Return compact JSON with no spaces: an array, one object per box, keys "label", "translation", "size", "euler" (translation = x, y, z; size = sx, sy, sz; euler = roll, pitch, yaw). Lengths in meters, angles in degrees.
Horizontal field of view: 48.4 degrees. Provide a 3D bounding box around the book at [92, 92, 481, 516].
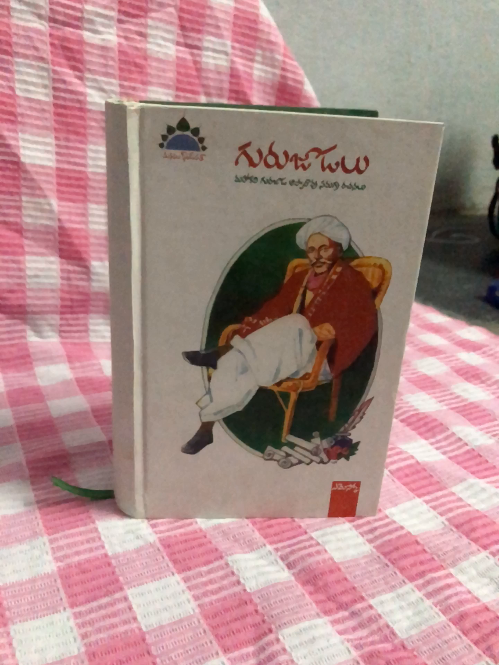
[{"label":"book","translation":[0.007,-0.009,0.299],"size":[0.160,0.209,0.070],"euler":[2,24,-7]}]
